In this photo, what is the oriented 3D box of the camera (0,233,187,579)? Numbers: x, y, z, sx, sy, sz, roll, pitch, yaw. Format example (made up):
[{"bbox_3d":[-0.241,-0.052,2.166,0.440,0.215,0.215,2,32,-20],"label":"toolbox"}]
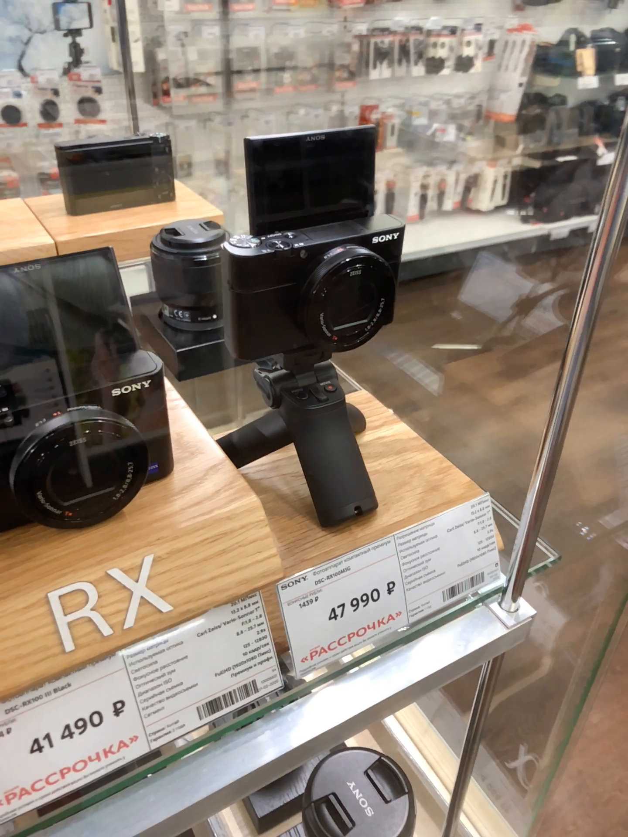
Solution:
[{"bbox_3d":[-0.117,-0.009,0.288,0.102,0.102,0.065,-17,39,-26],"label":"camera"}]

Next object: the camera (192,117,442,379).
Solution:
[{"bbox_3d":[0.000,-0.089,0.354,0.102,0.102,0.057,-17,39,-26],"label":"camera"}]
